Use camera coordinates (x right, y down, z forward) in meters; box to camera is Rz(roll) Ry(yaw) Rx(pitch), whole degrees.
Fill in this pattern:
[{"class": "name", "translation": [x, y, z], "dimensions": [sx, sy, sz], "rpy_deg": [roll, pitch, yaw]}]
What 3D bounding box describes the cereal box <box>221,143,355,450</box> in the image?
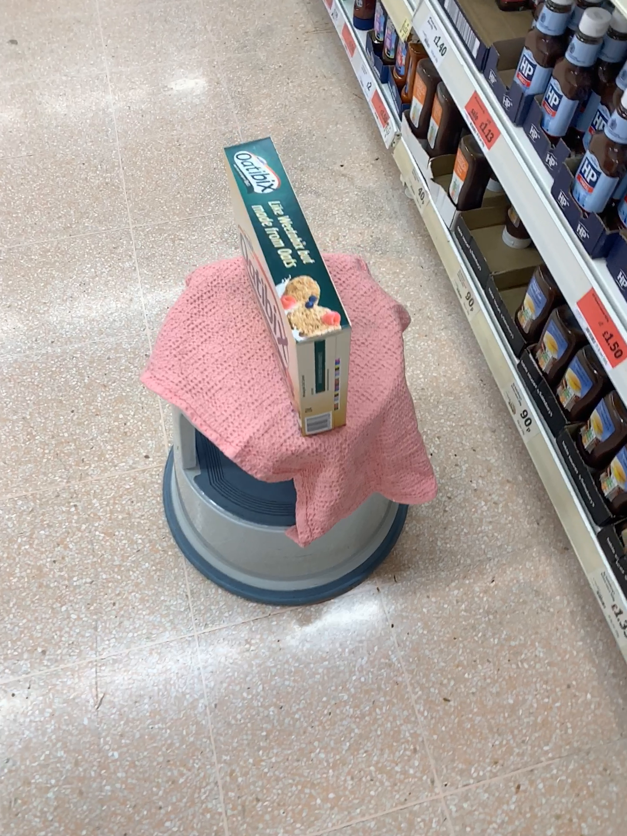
[{"class": "cereal box", "translation": [-0.029, -0.130, 0.702], "dimensions": [0.060, 0.189, 0.272], "rpy_deg": [-15, 62, -6]}]
